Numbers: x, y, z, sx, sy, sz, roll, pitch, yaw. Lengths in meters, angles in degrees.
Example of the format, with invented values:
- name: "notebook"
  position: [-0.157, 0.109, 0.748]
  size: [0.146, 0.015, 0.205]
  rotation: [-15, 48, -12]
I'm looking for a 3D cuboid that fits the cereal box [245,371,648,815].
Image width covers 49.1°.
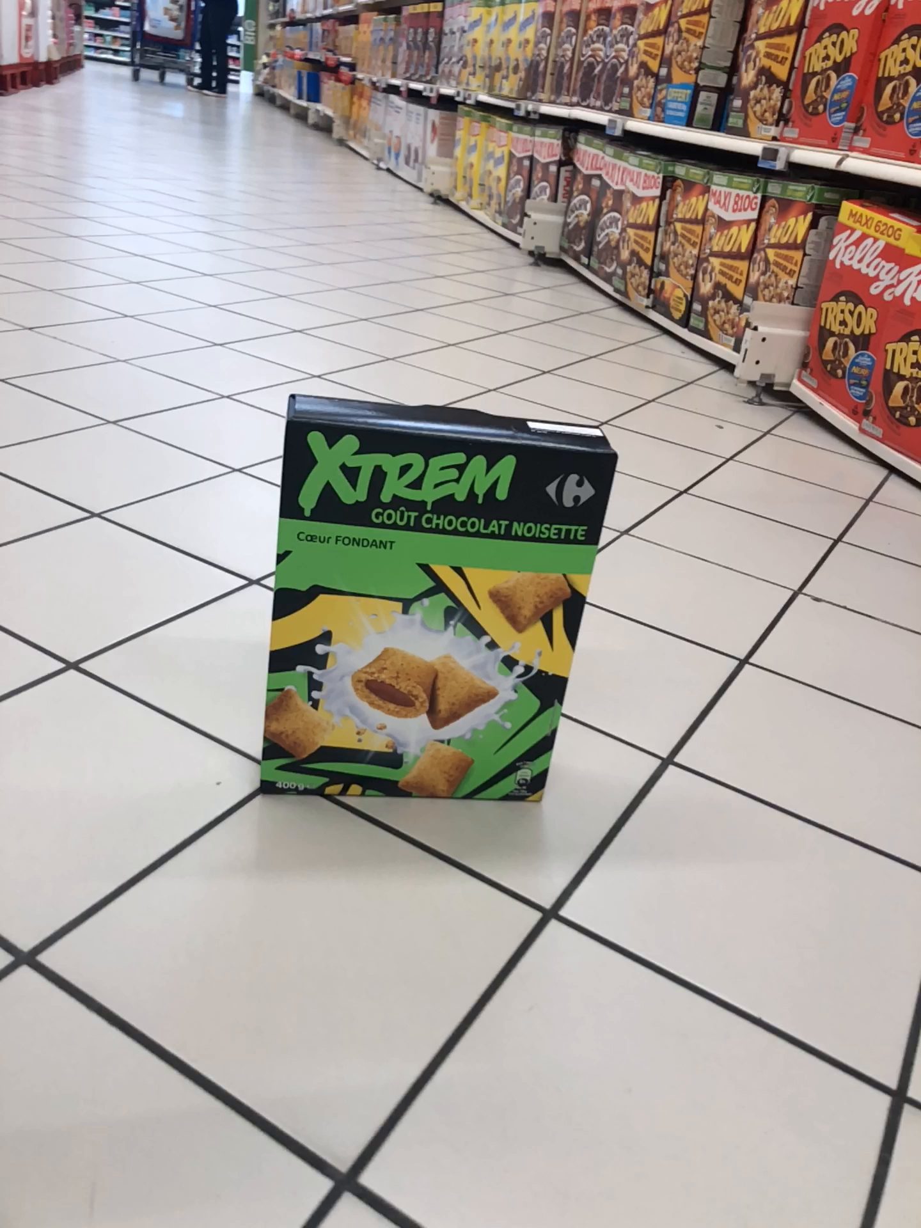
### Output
- name: "cereal box"
  position: [-0.020, -0.007, 0.616]
  size: [0.200, 0.239, 0.090]
  rotation: [5, 26, -9]
